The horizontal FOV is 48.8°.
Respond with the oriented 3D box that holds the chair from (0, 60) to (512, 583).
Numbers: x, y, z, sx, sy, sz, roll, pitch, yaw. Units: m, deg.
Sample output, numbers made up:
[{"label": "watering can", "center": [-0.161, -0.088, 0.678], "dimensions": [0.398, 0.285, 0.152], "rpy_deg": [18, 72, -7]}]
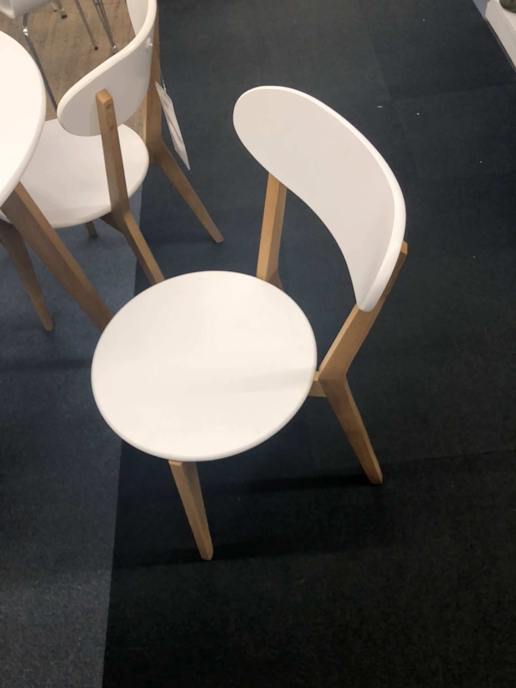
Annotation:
[{"label": "chair", "center": [-0.030, -0.006, 0.986], "dimensions": [0.560, 0.598, 0.481], "rpy_deg": [-23, 56, -8]}]
